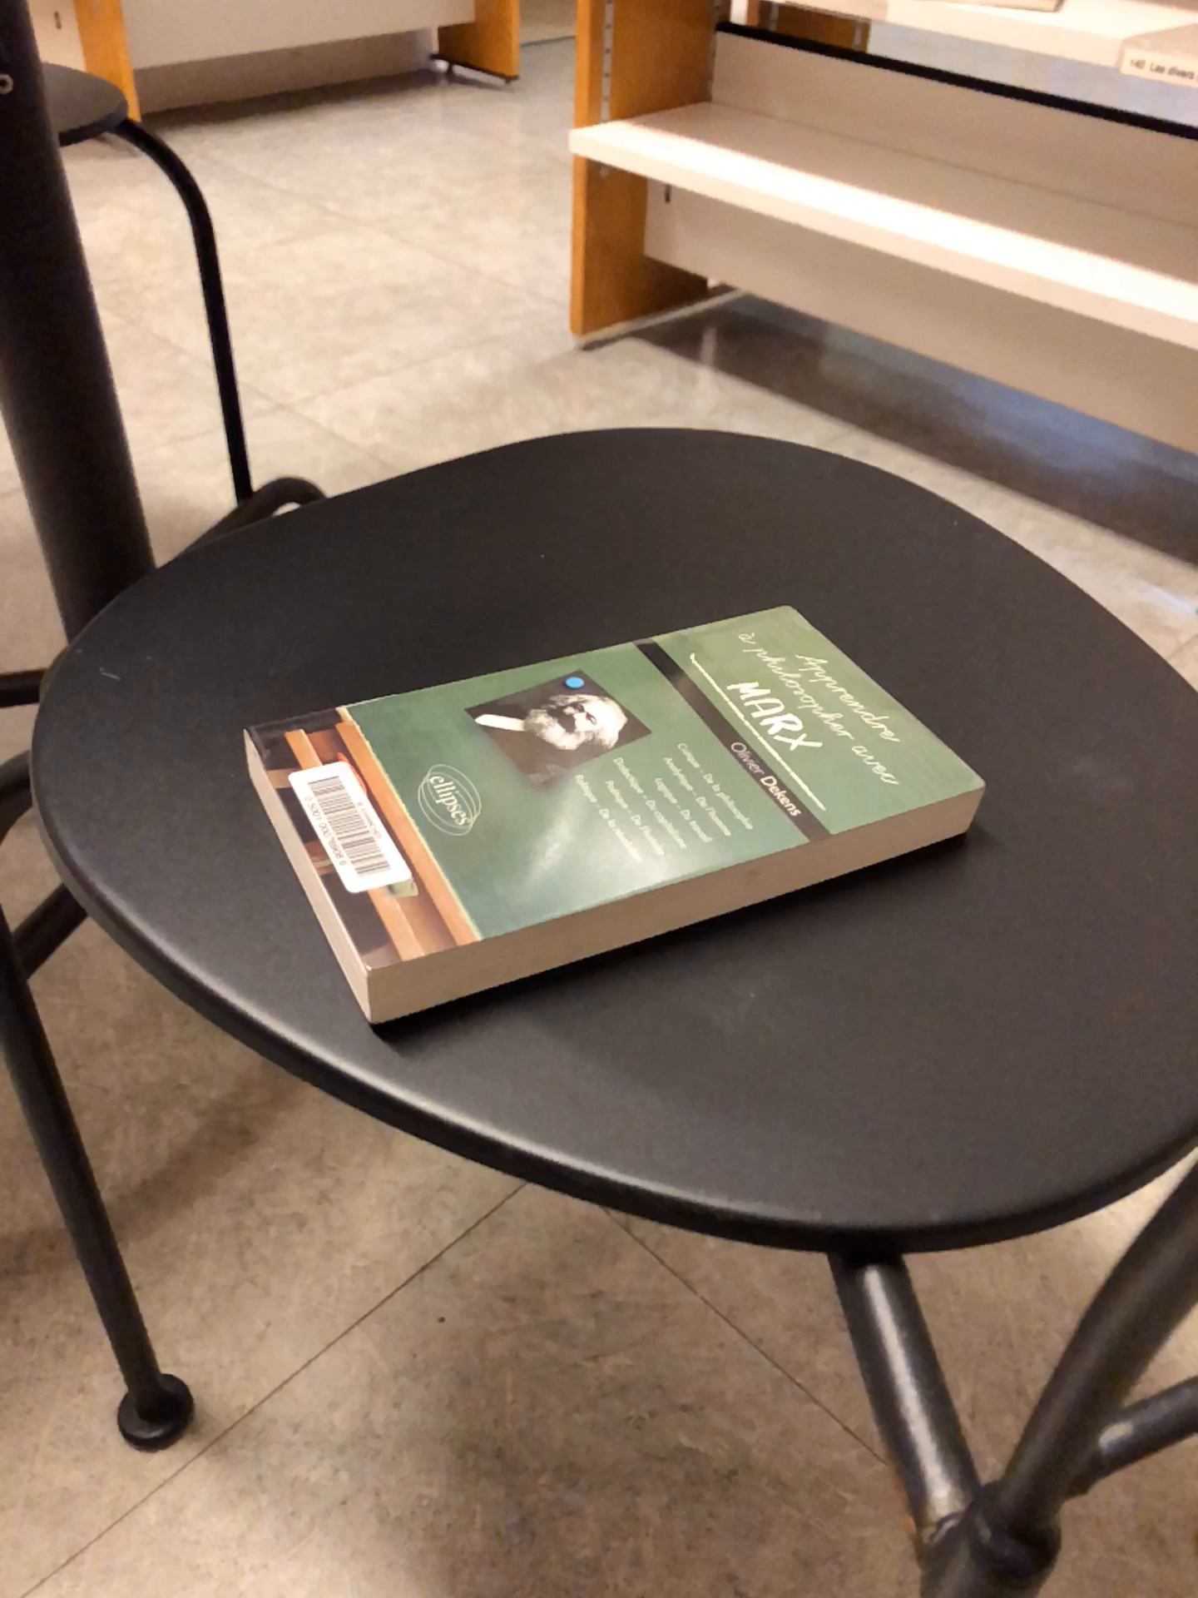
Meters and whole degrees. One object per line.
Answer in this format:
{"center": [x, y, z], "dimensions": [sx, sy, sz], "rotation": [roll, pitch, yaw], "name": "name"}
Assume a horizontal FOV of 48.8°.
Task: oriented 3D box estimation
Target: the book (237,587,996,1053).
{"center": [0.002, -0.005, 0.367], "dimensions": [0.177, 0.024, 0.110], "rotation": [-16, 43, -21], "name": "book"}
